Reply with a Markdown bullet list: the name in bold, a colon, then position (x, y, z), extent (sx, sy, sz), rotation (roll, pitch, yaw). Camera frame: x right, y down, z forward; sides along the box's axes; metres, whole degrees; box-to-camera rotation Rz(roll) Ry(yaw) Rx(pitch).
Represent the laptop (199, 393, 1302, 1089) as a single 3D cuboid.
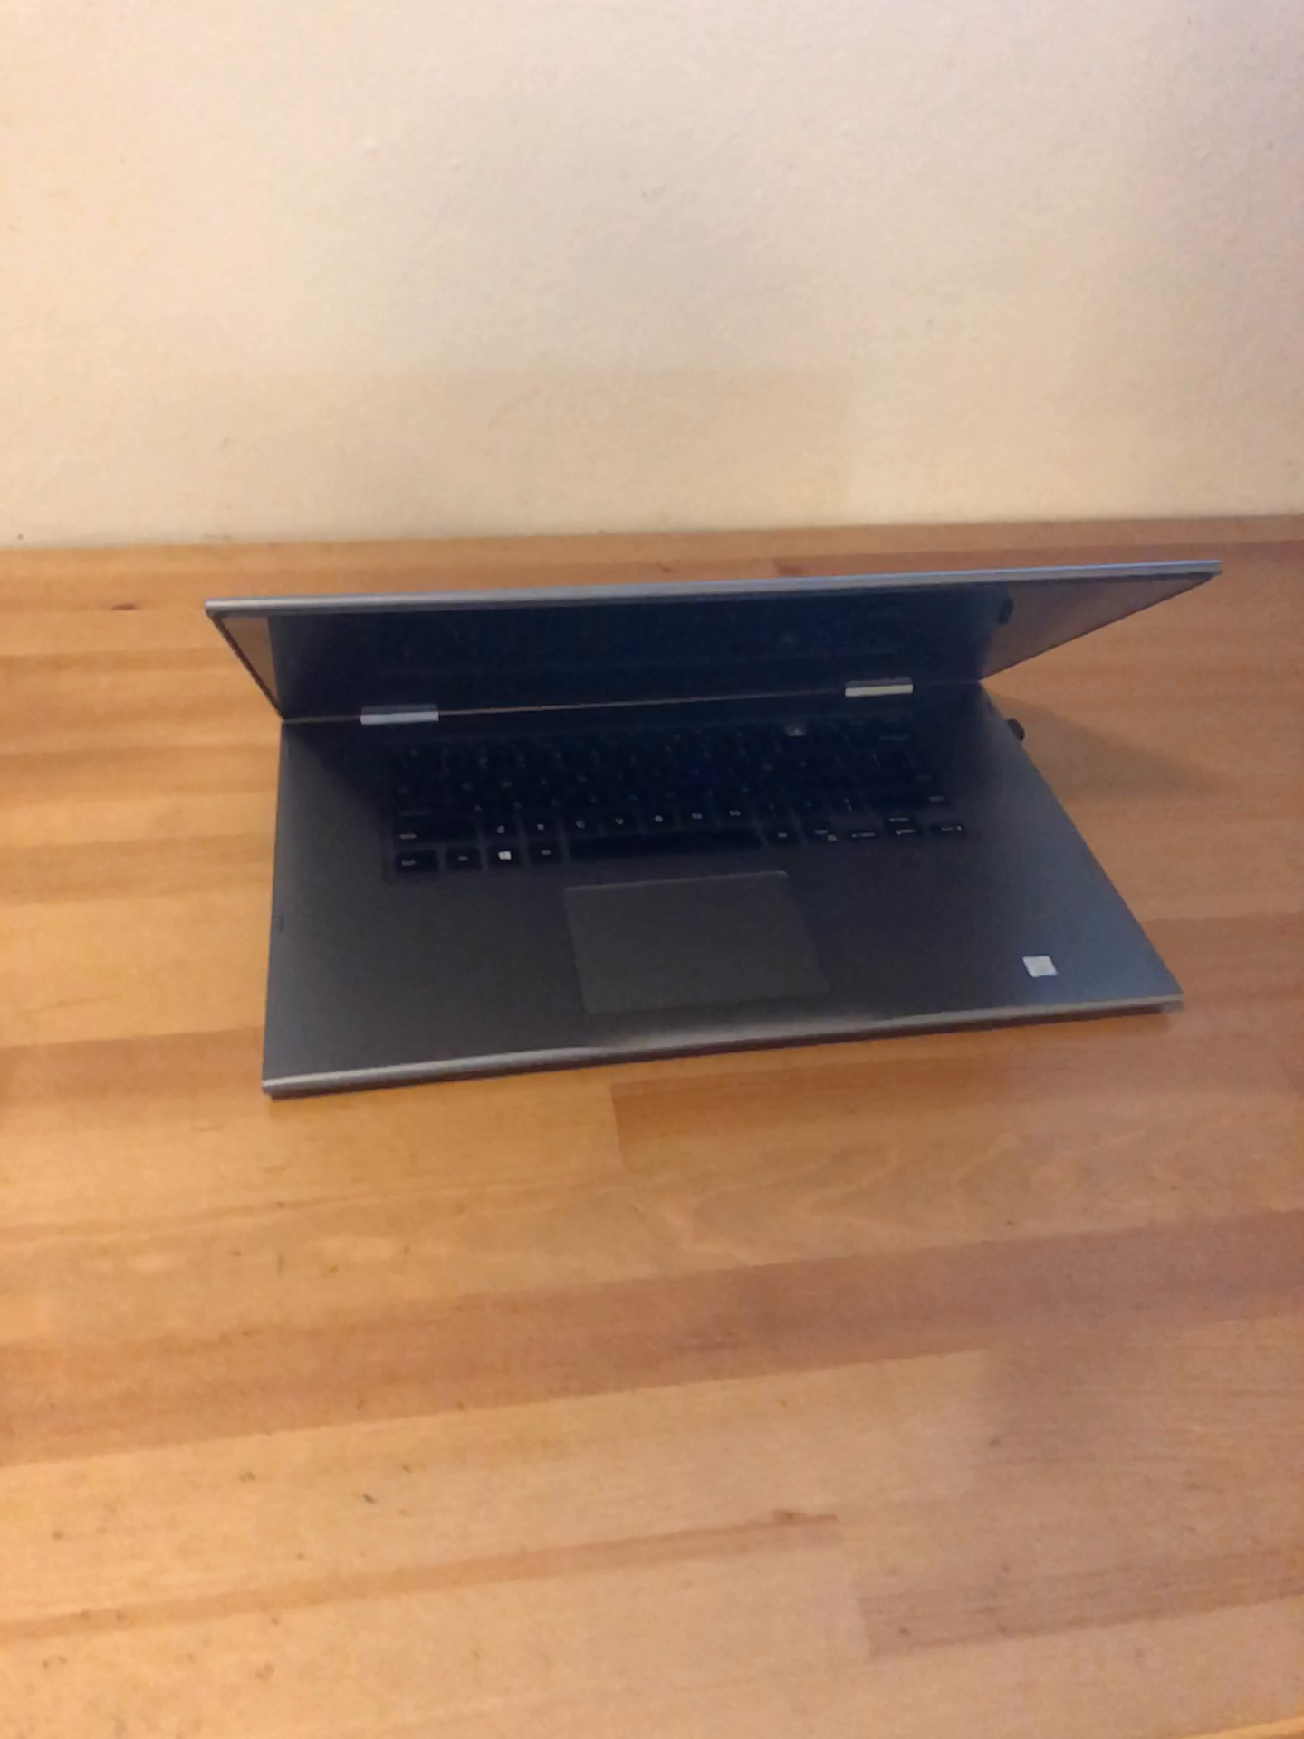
- **laptop**: position (0.021, -0.073, 0.621), extent (0.375, 0.165, 0.248), rotation (-5, 40, -9)
